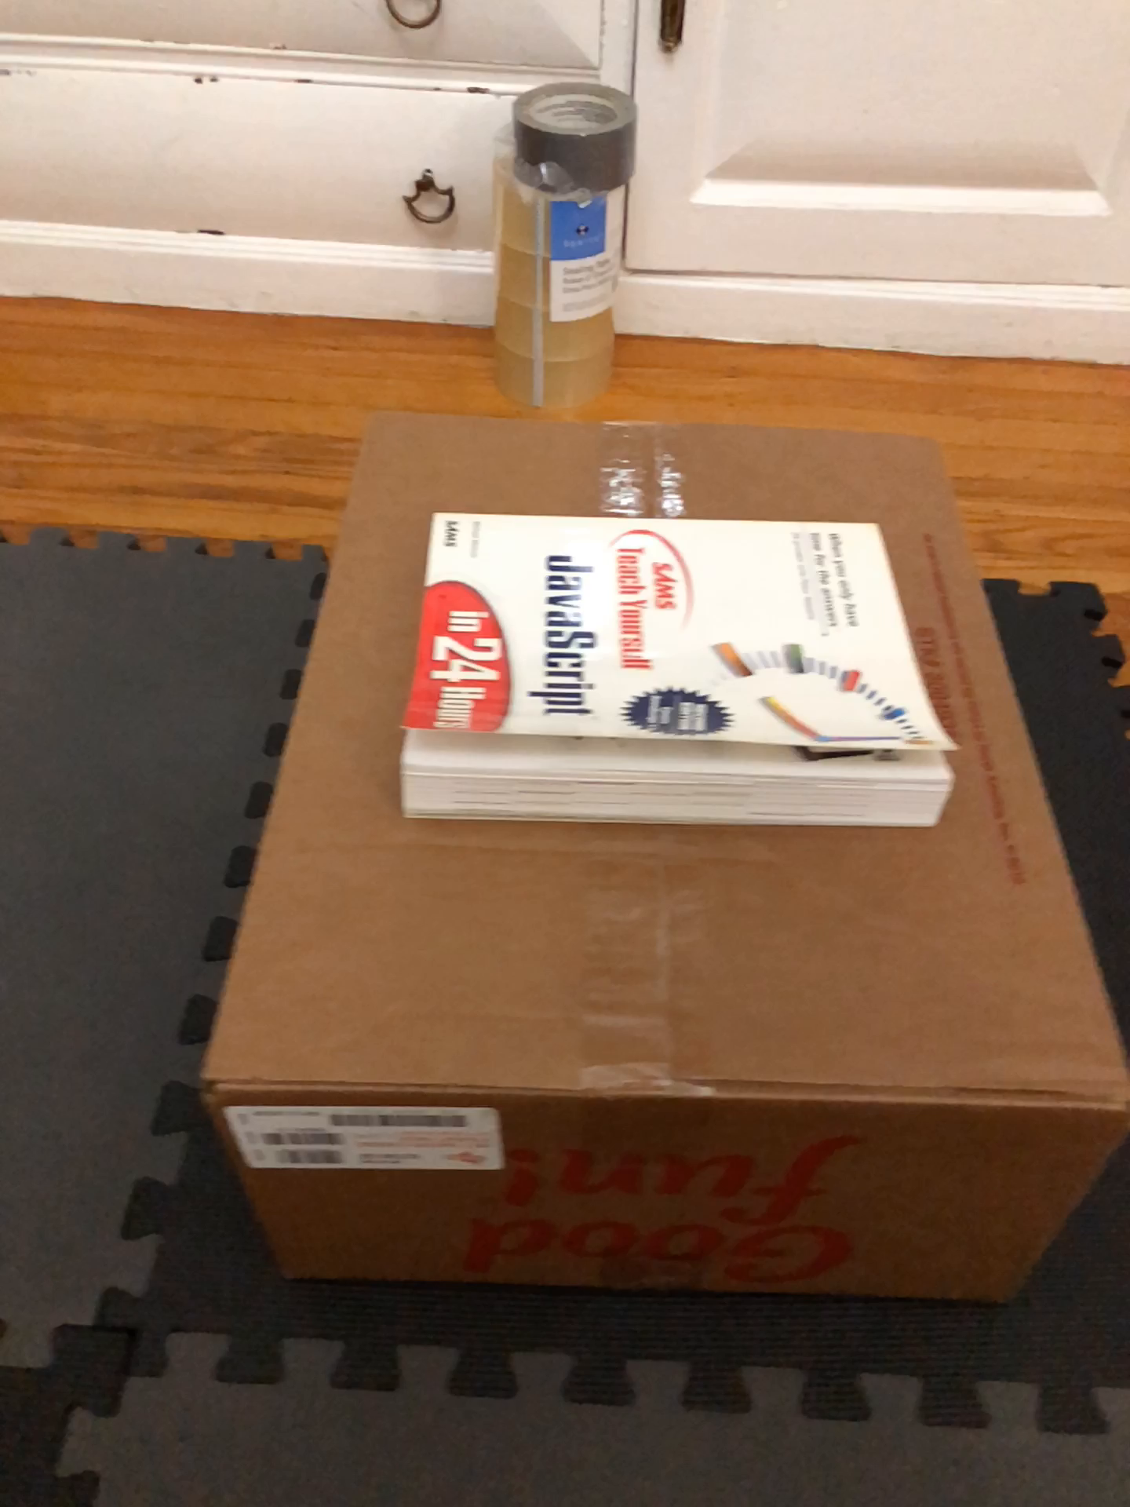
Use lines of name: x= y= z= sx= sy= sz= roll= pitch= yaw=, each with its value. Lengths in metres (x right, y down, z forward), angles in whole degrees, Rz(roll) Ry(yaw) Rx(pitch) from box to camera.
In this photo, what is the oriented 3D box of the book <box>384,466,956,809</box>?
book: x=0.044 y=-0.063 z=0.598 sx=0.240 sy=0.030 sz=0.201 roll=2 pitch=47 yaw=-2
